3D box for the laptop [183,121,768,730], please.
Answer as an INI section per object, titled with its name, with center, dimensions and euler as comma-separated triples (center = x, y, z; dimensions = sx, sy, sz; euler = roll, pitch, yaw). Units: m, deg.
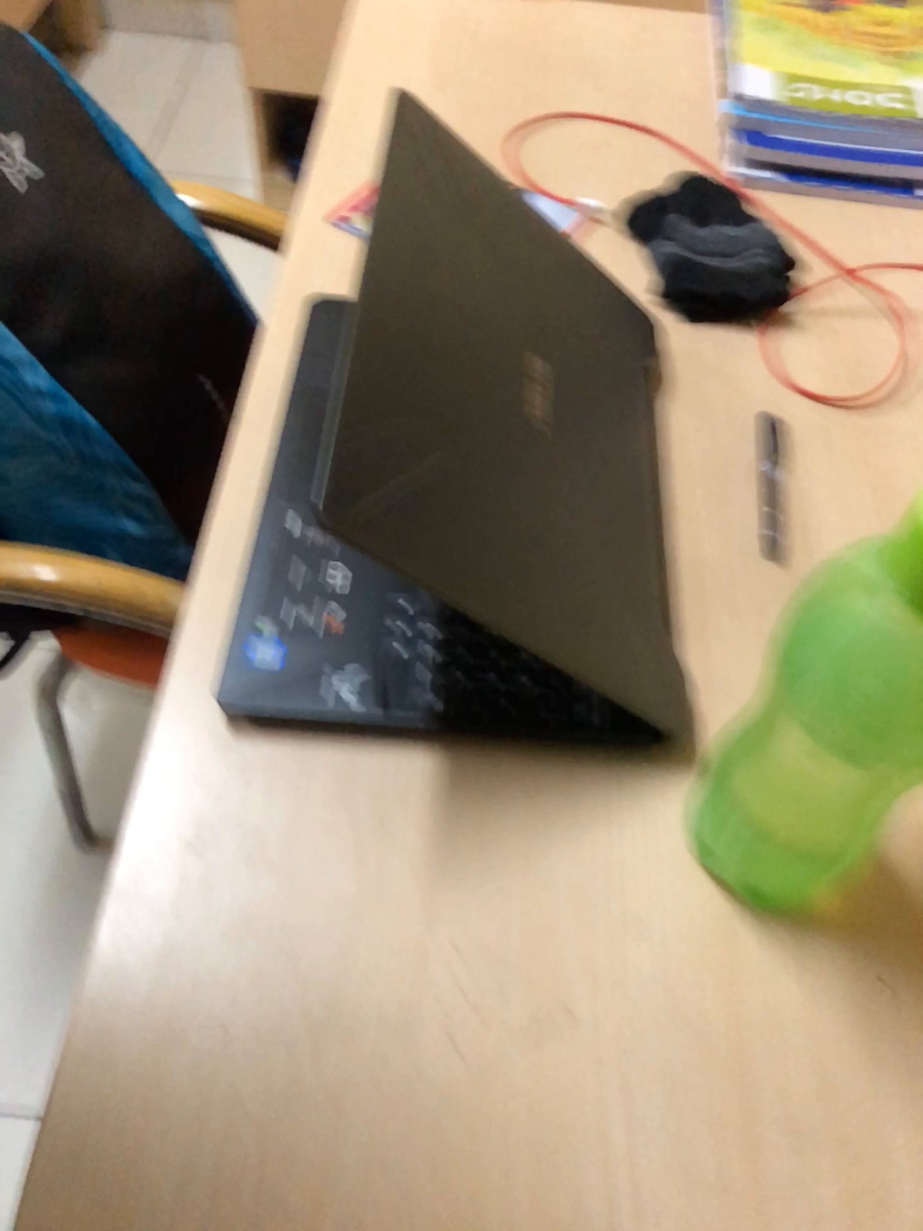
[laptop]
center = 0.013, -0.123, 0.592
dimensions = 0.247, 0.147, 0.340
euler = 4, 53, 1
